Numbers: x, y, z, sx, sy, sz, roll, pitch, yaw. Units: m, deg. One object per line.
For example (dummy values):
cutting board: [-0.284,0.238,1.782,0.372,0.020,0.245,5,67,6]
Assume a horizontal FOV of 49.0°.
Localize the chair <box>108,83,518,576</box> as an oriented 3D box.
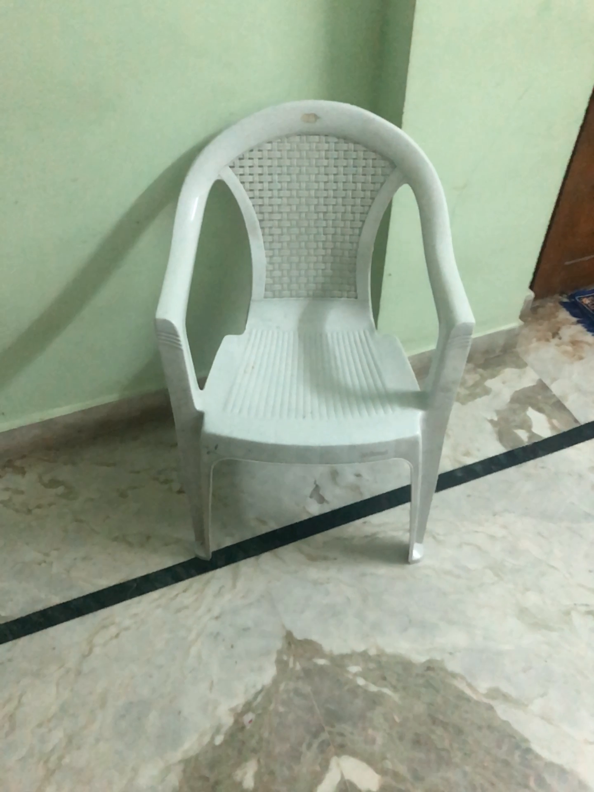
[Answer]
chair: [0.031,-0.098,1.323,0.530,0.825,0.533,2,46,2]
